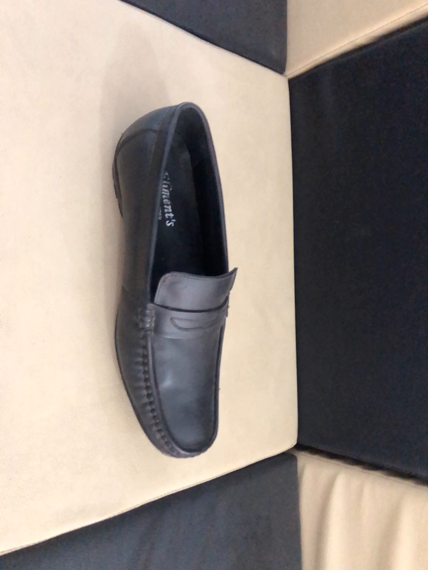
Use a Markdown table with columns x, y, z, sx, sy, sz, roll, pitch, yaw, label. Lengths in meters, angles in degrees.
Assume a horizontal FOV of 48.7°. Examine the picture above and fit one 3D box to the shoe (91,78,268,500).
| x | y | z | sx | sy | sz | roll | pitch | yaw | label |
| --- | --- | --- | --- | --- | --- | --- | --- | --- | --- |
| -0.028 | 0.002 | 0.386 | 0.101 | 0.079 | 0.290 | -2 | 88 | -42 | shoe |
